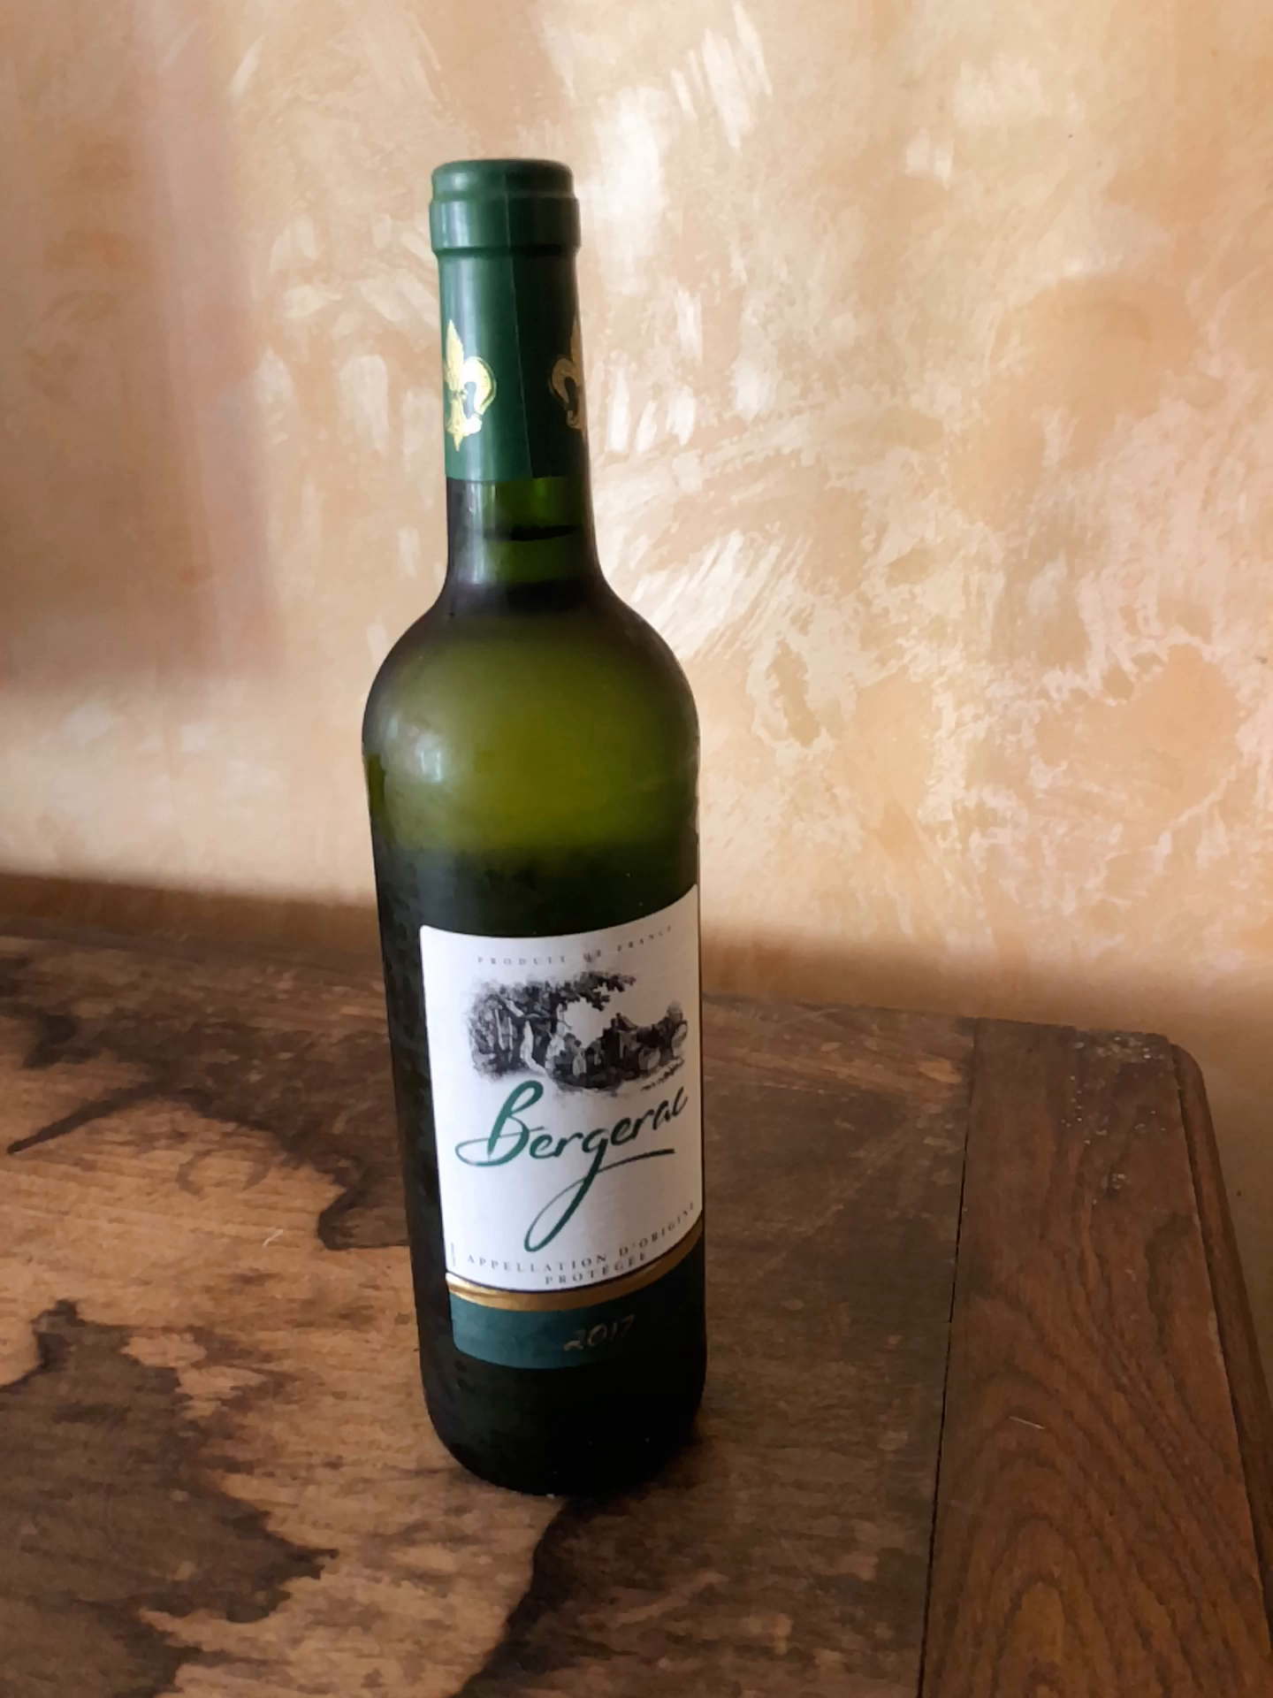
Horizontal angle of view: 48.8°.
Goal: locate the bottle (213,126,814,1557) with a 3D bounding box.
[{"bbox_3d":[-0.028,0.003,0.299,0.090,0.269,0.090,0,21,0],"label":"bottle"}]
